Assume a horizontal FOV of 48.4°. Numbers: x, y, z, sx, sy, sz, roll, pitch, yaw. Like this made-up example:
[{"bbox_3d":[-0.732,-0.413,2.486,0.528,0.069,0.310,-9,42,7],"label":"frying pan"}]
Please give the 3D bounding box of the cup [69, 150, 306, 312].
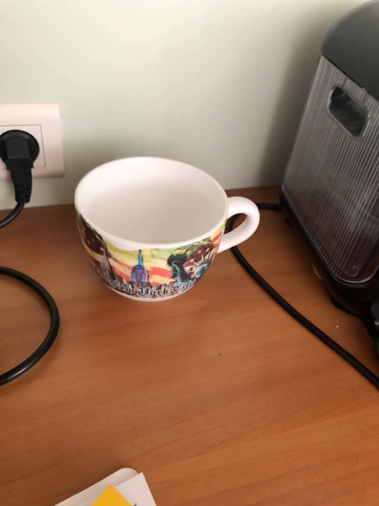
[{"bbox_3d":[-0.012,-0.027,0.360,0.170,0.070,0.121,-3,43,-13],"label":"cup"}]
